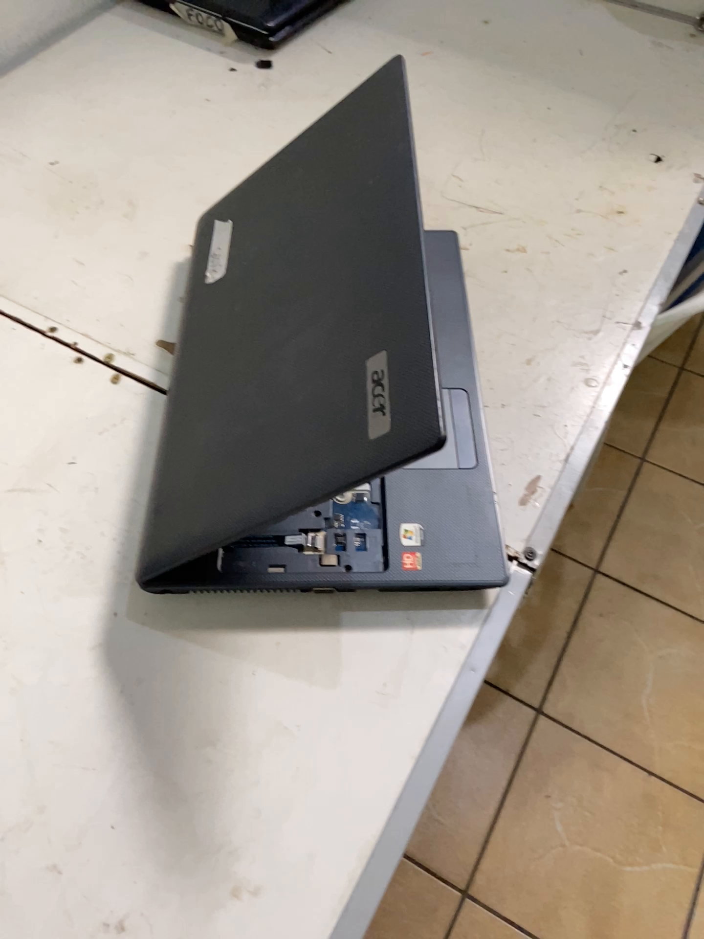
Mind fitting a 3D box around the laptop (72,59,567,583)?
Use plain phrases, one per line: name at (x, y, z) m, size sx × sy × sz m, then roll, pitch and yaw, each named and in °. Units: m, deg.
laptop at (-0.016, -0.123, 0.520) m, size 0.239 × 0.156 × 0.371 m, roll 0°, pitch 55°, yaw -1°
